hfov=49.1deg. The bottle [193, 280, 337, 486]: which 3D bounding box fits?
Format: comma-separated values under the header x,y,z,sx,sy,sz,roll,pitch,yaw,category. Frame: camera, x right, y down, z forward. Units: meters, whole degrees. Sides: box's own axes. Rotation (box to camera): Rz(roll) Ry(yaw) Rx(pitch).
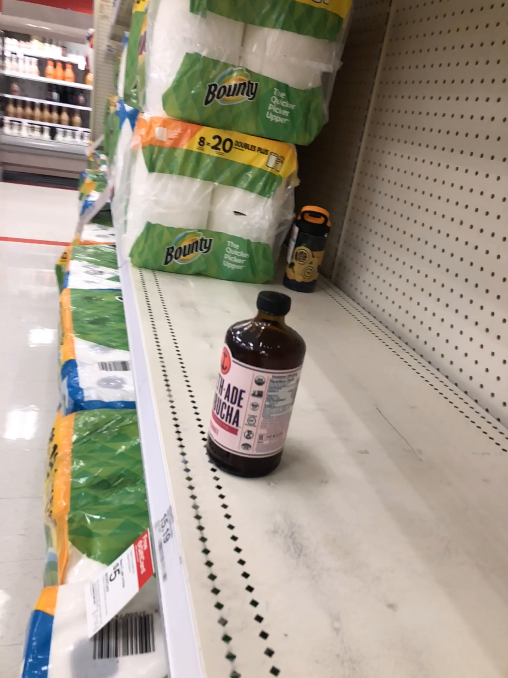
x,y,z,sx,sy,sz,roll,pitch,yaw,category
0.004,0.040,0.532,0.089,0.169,0.087,8,21,-3,bottle
